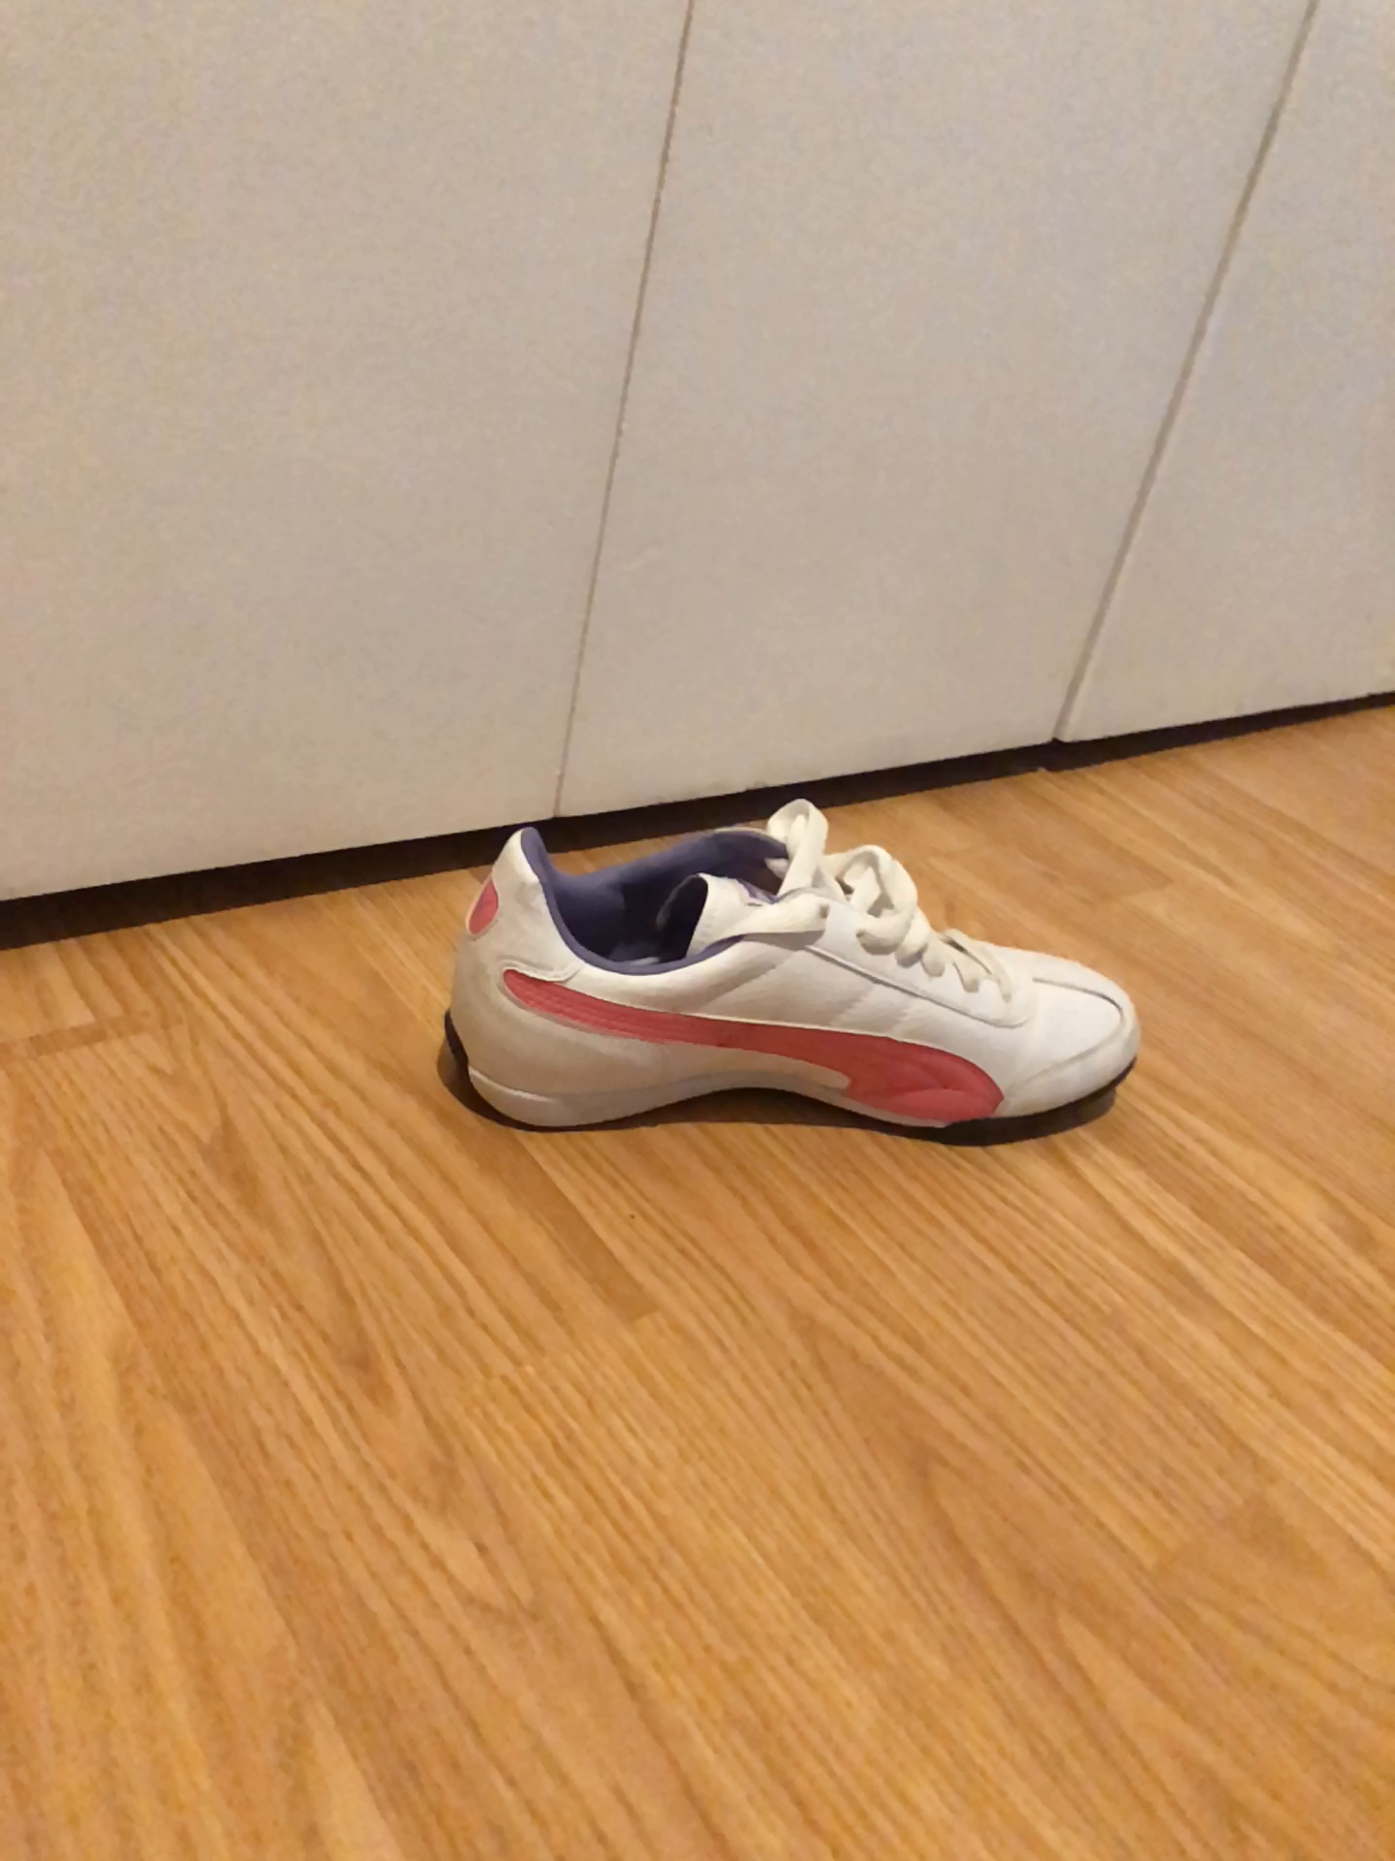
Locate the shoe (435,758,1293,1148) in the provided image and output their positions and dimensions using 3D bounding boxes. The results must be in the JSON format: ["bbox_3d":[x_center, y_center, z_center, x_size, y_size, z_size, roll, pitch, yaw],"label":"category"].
[{"bbox_3d":[0.051,0.009,0.523,0.260,0.080,0.100,2,32,-19],"label":"shoe"}]
